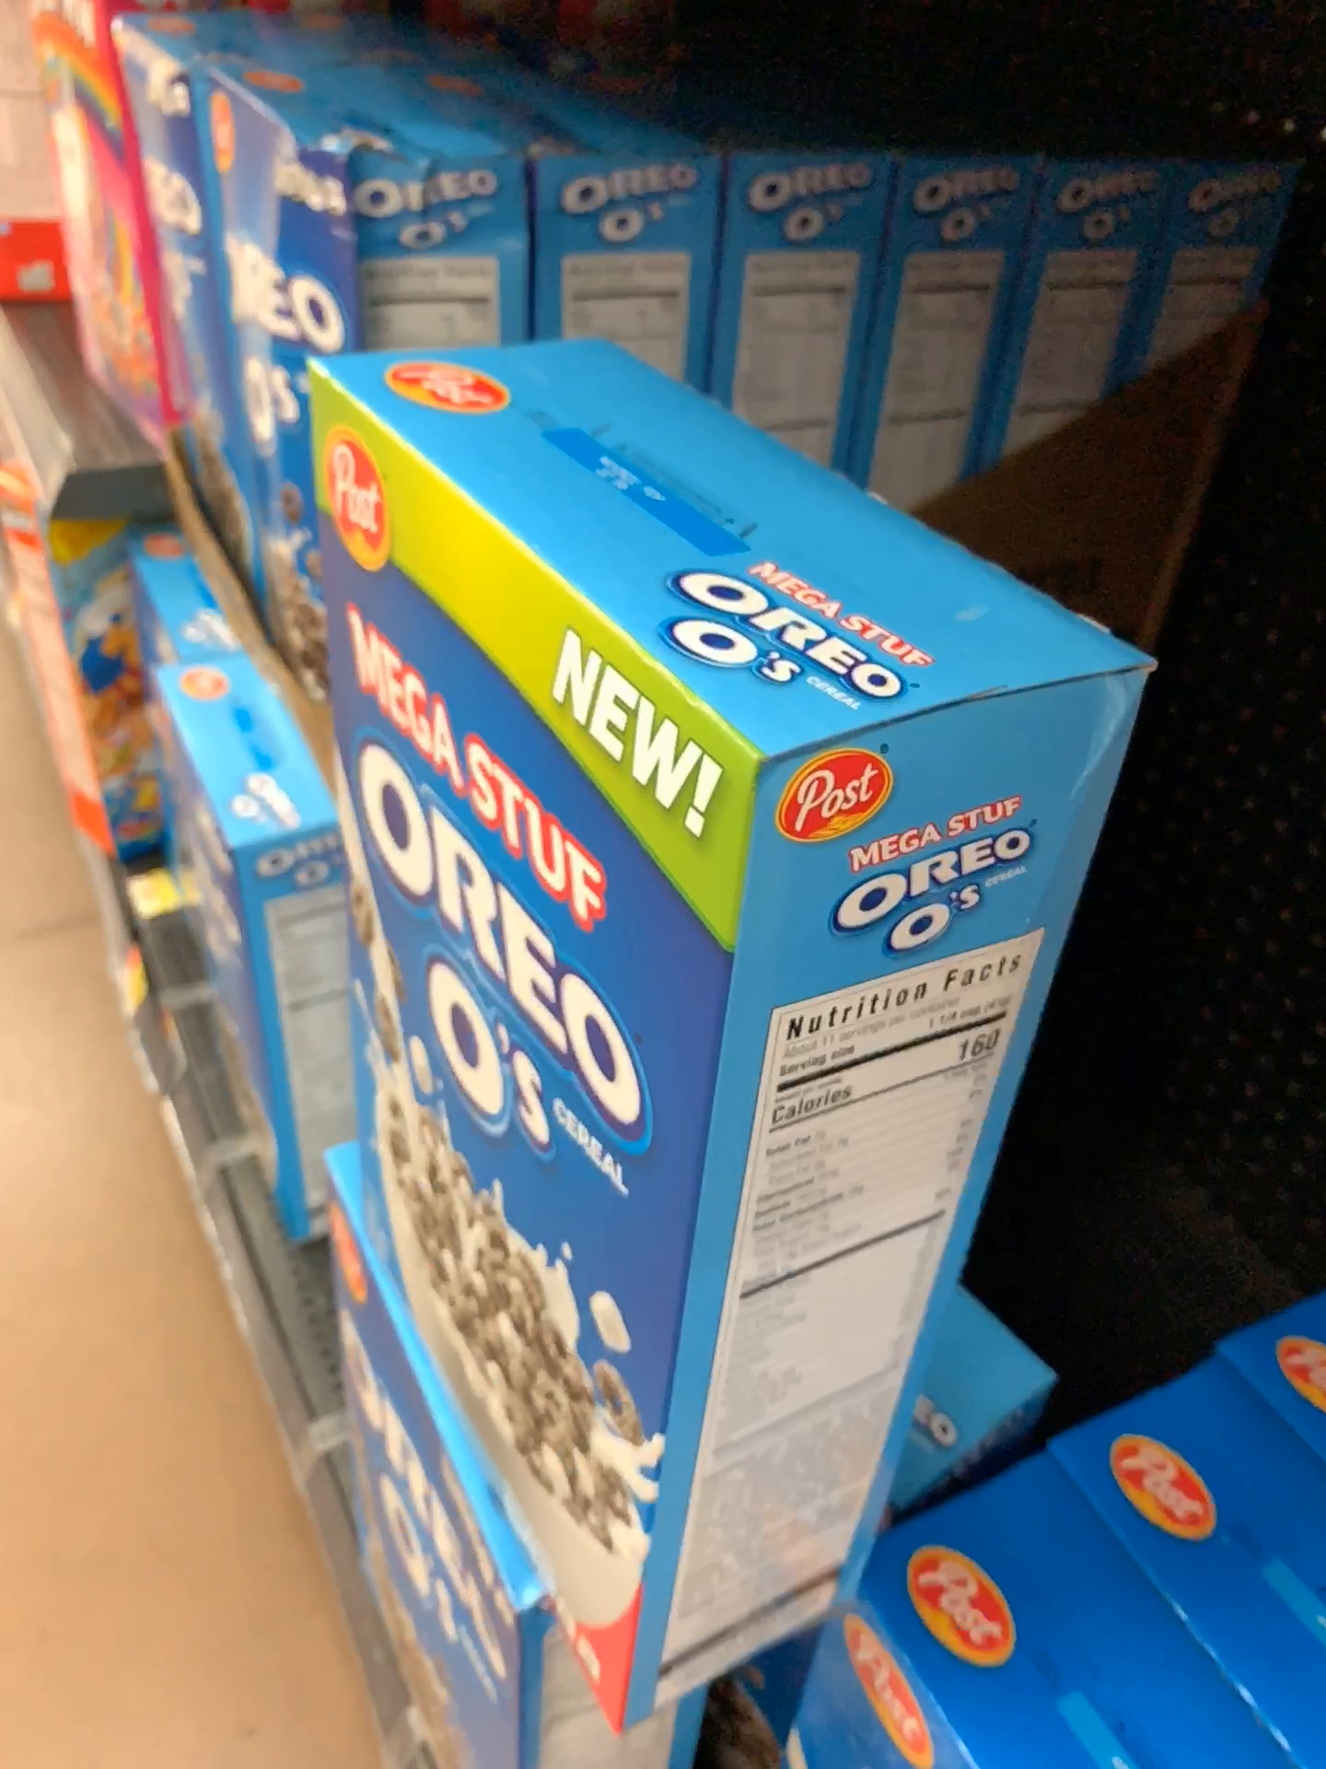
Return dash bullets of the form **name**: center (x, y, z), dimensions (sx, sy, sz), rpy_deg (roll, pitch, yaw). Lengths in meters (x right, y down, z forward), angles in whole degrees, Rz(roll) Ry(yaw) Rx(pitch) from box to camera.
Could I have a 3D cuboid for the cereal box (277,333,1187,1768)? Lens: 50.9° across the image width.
- **cereal box**: center (-0.017, 0.044, 0.357), dimensions (0.080, 0.299, 0.201), rpy_deg (-15, 41, -28)
